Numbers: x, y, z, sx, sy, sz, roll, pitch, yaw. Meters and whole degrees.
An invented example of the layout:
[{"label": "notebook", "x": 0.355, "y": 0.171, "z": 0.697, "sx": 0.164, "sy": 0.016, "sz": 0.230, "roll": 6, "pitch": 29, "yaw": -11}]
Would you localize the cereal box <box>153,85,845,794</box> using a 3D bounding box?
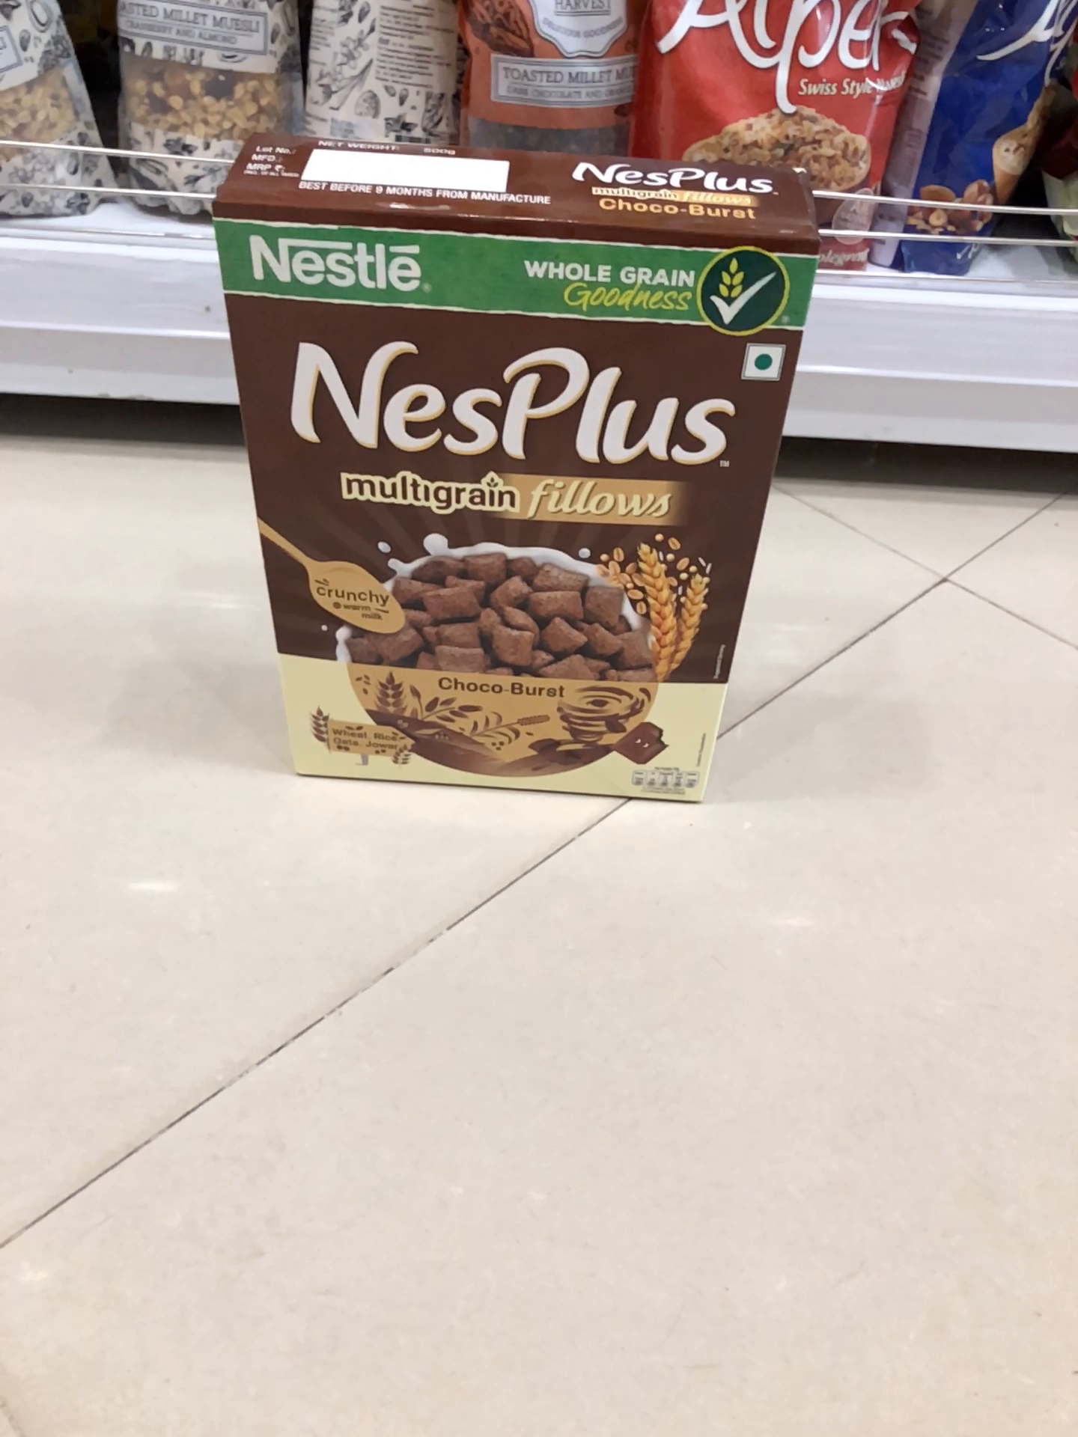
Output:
[{"label": "cereal box", "x": -0.017, "y": -0.086, "z": 0.457, "sx": 0.200, "sy": 0.258, "sz": 0.060, "roll": 4, "pitch": 45, "yaw": 0}]
